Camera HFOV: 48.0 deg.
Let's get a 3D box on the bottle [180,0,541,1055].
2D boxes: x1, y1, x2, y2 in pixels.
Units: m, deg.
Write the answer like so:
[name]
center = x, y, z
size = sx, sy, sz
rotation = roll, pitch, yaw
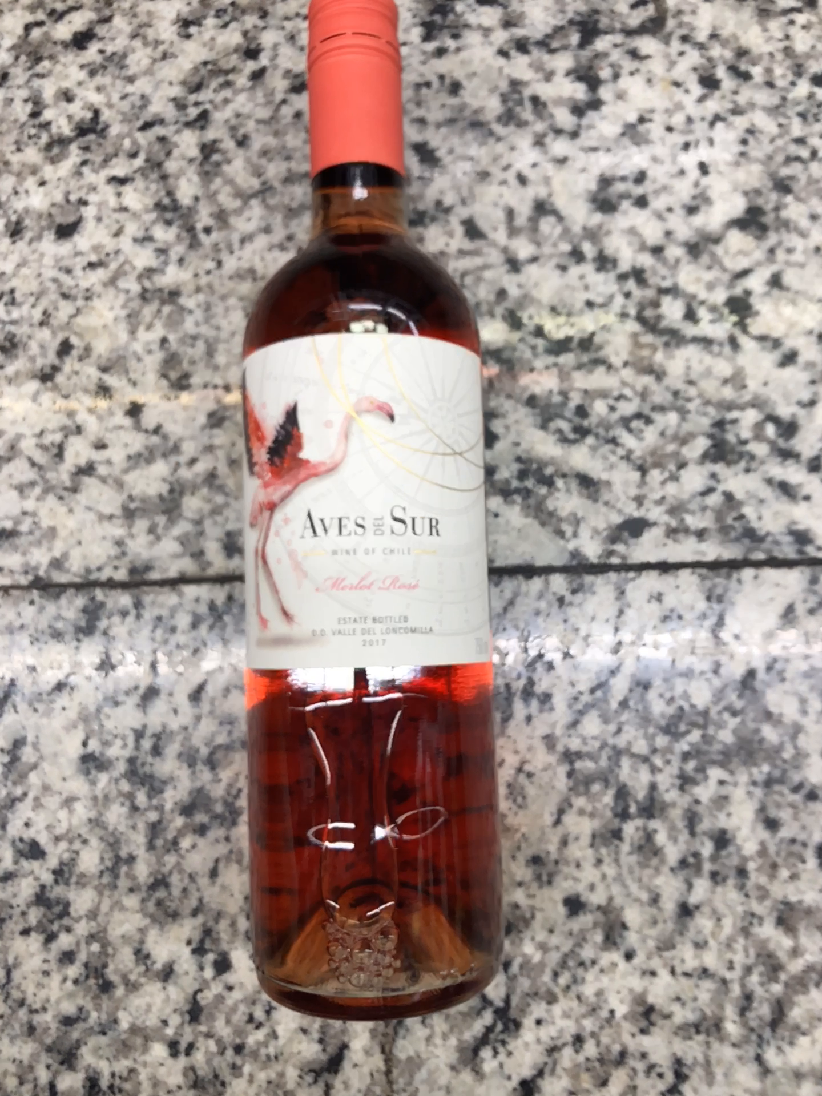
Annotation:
[bottle]
center = -0.017, -0.031, 0.300
size = 0.090, 0.070, 0.340
rotation = -3, 83, 3
